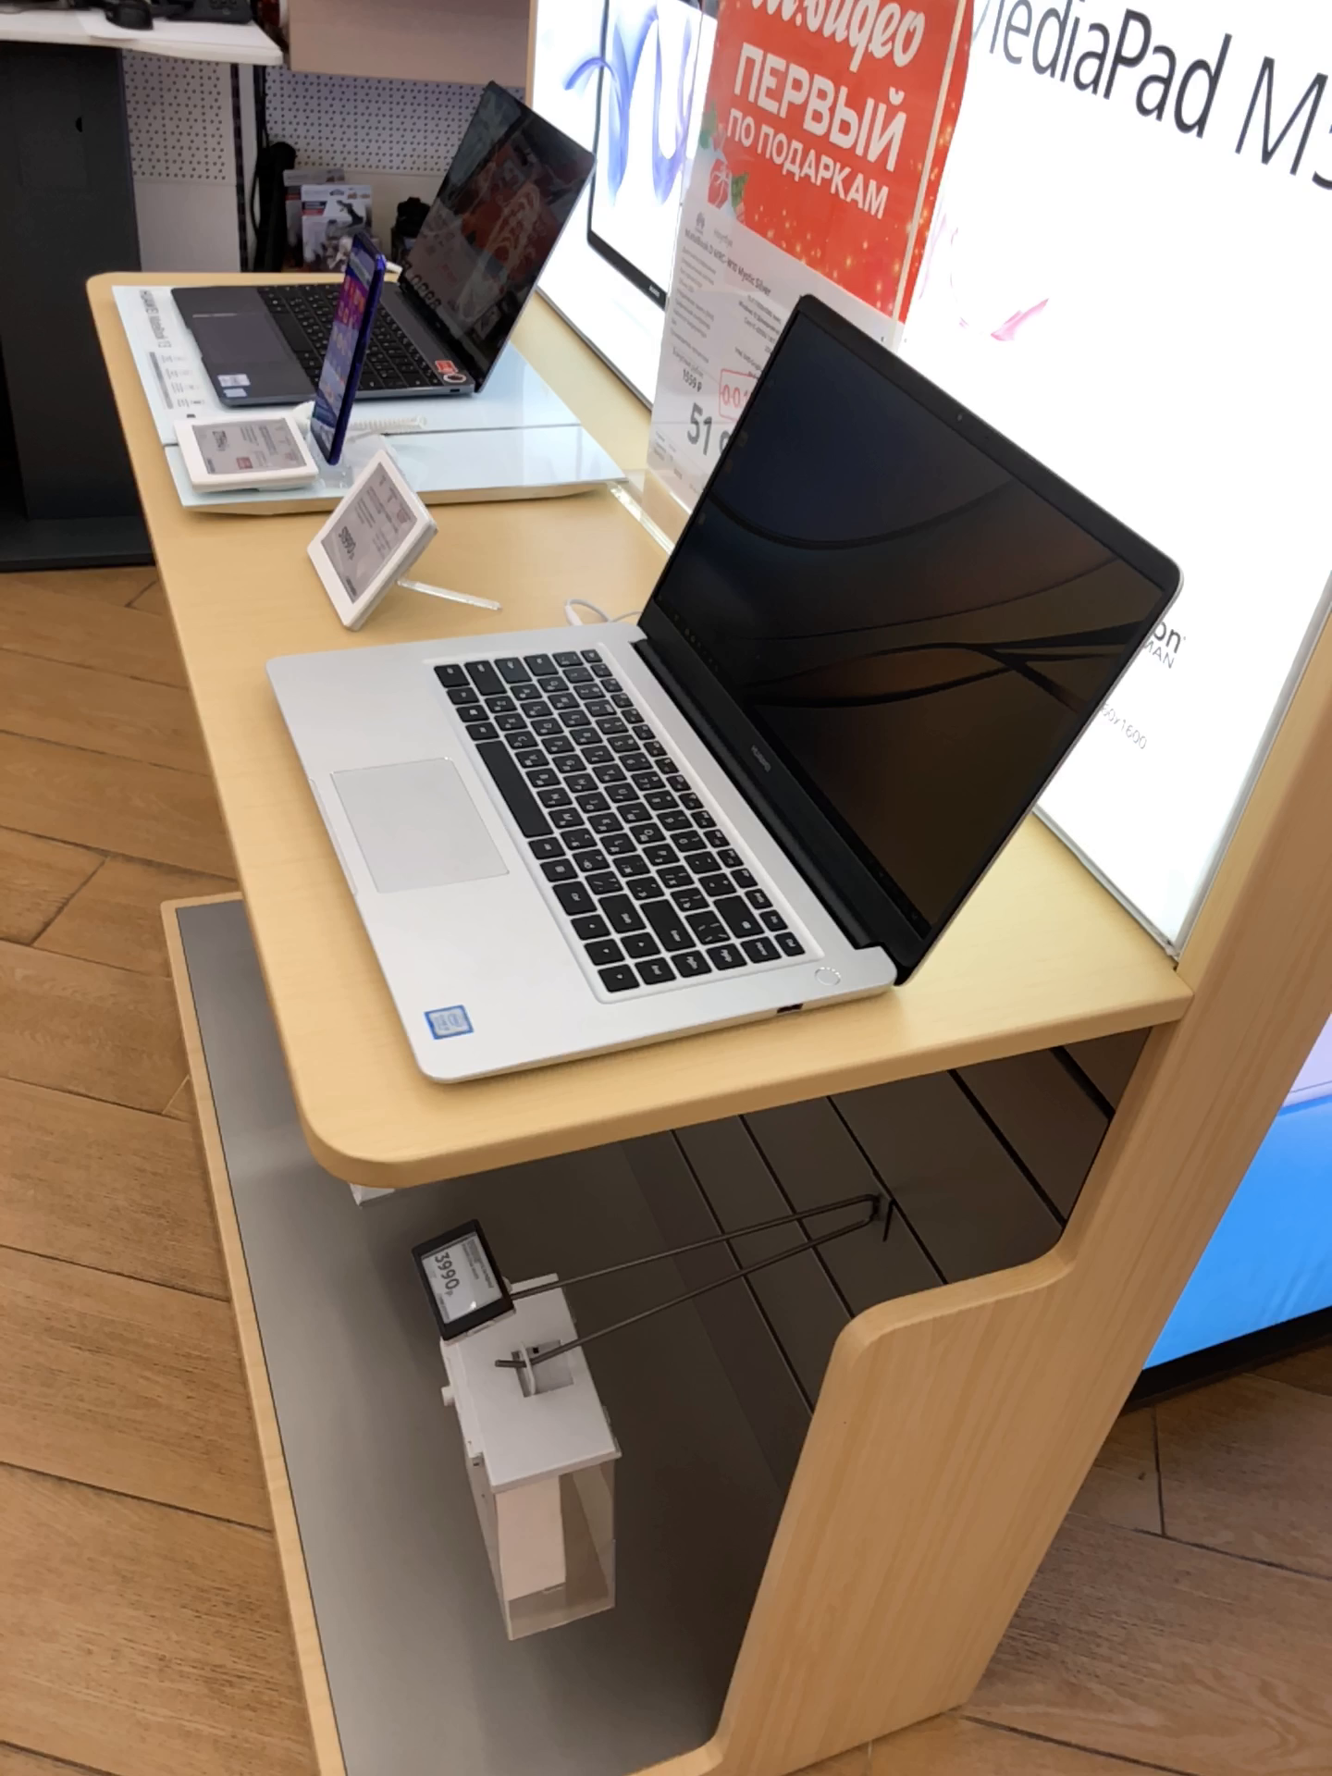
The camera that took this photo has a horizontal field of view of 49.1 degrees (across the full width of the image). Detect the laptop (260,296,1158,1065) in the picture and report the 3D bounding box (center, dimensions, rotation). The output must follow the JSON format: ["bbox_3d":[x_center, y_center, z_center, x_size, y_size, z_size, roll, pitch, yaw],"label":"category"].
[{"bbox_3d":[-0.011,-0.135,0.736,0.306,0.204,0.342,-10,42,-22],"label":"laptop"}]
